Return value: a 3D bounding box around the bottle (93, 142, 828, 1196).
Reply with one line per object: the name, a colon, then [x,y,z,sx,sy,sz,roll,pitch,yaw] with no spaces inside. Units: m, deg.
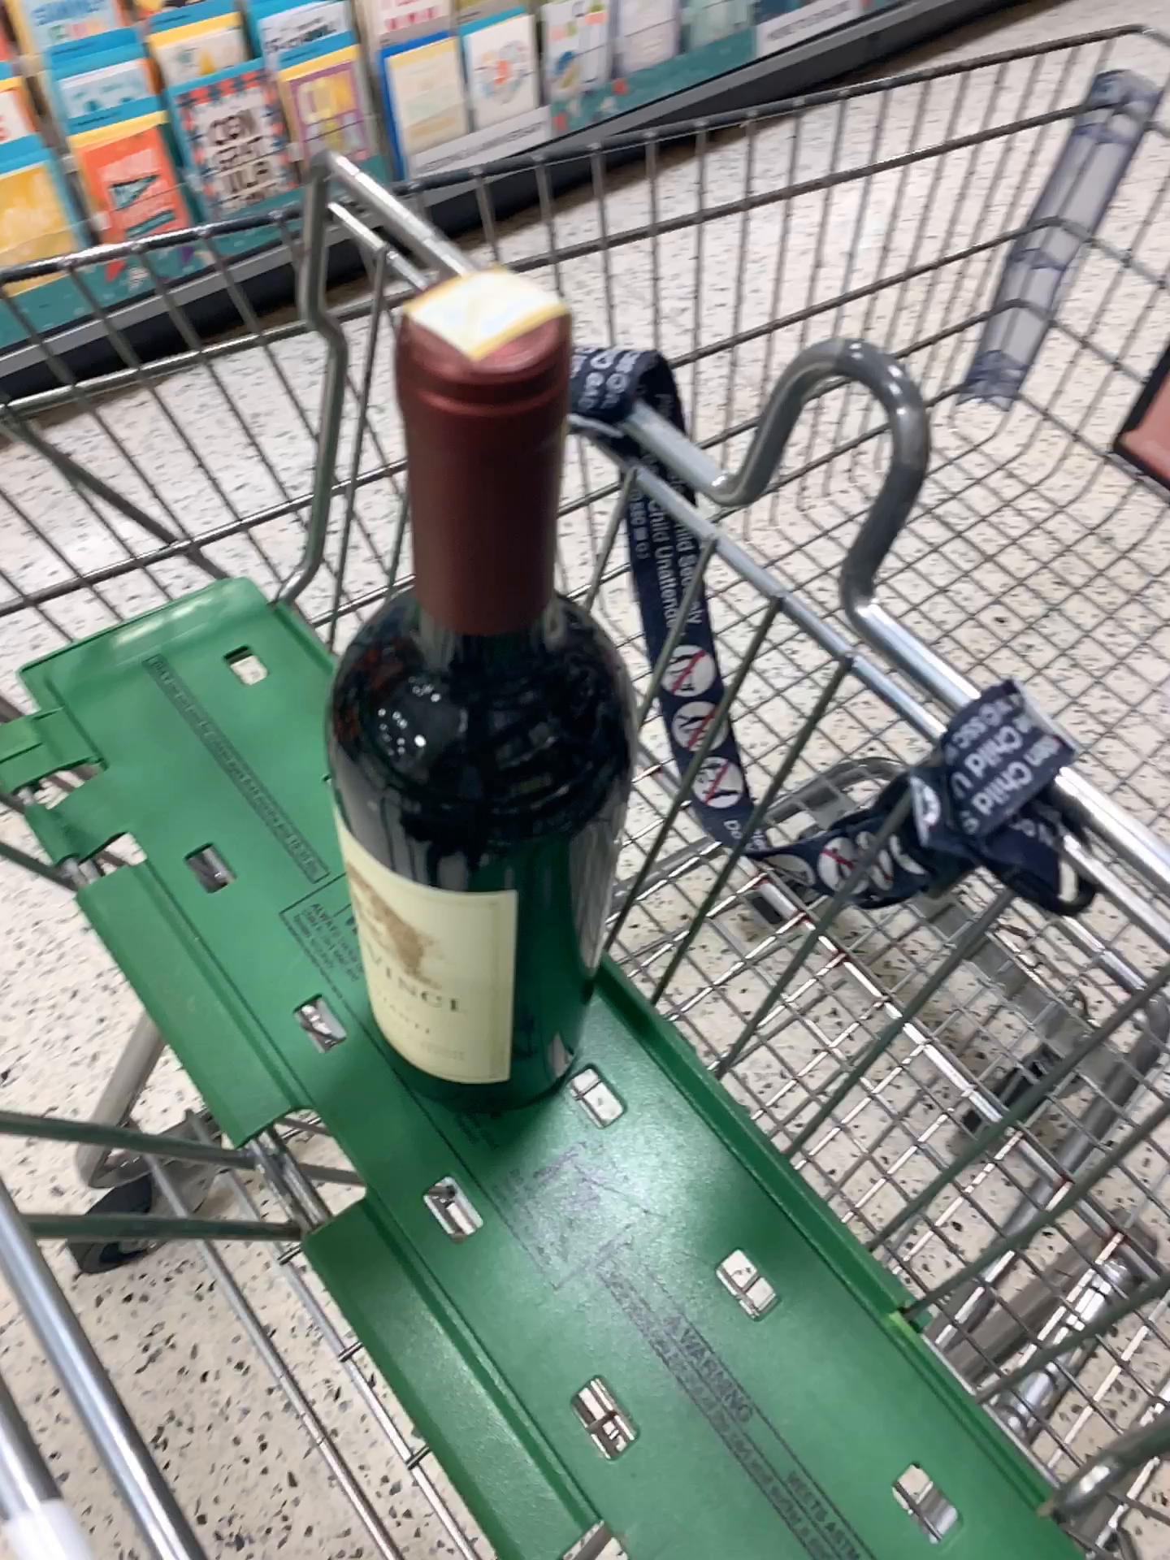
bottle: [-0.028,0.007,0.293,0.080,0.268,0.080,2,55,-3]
